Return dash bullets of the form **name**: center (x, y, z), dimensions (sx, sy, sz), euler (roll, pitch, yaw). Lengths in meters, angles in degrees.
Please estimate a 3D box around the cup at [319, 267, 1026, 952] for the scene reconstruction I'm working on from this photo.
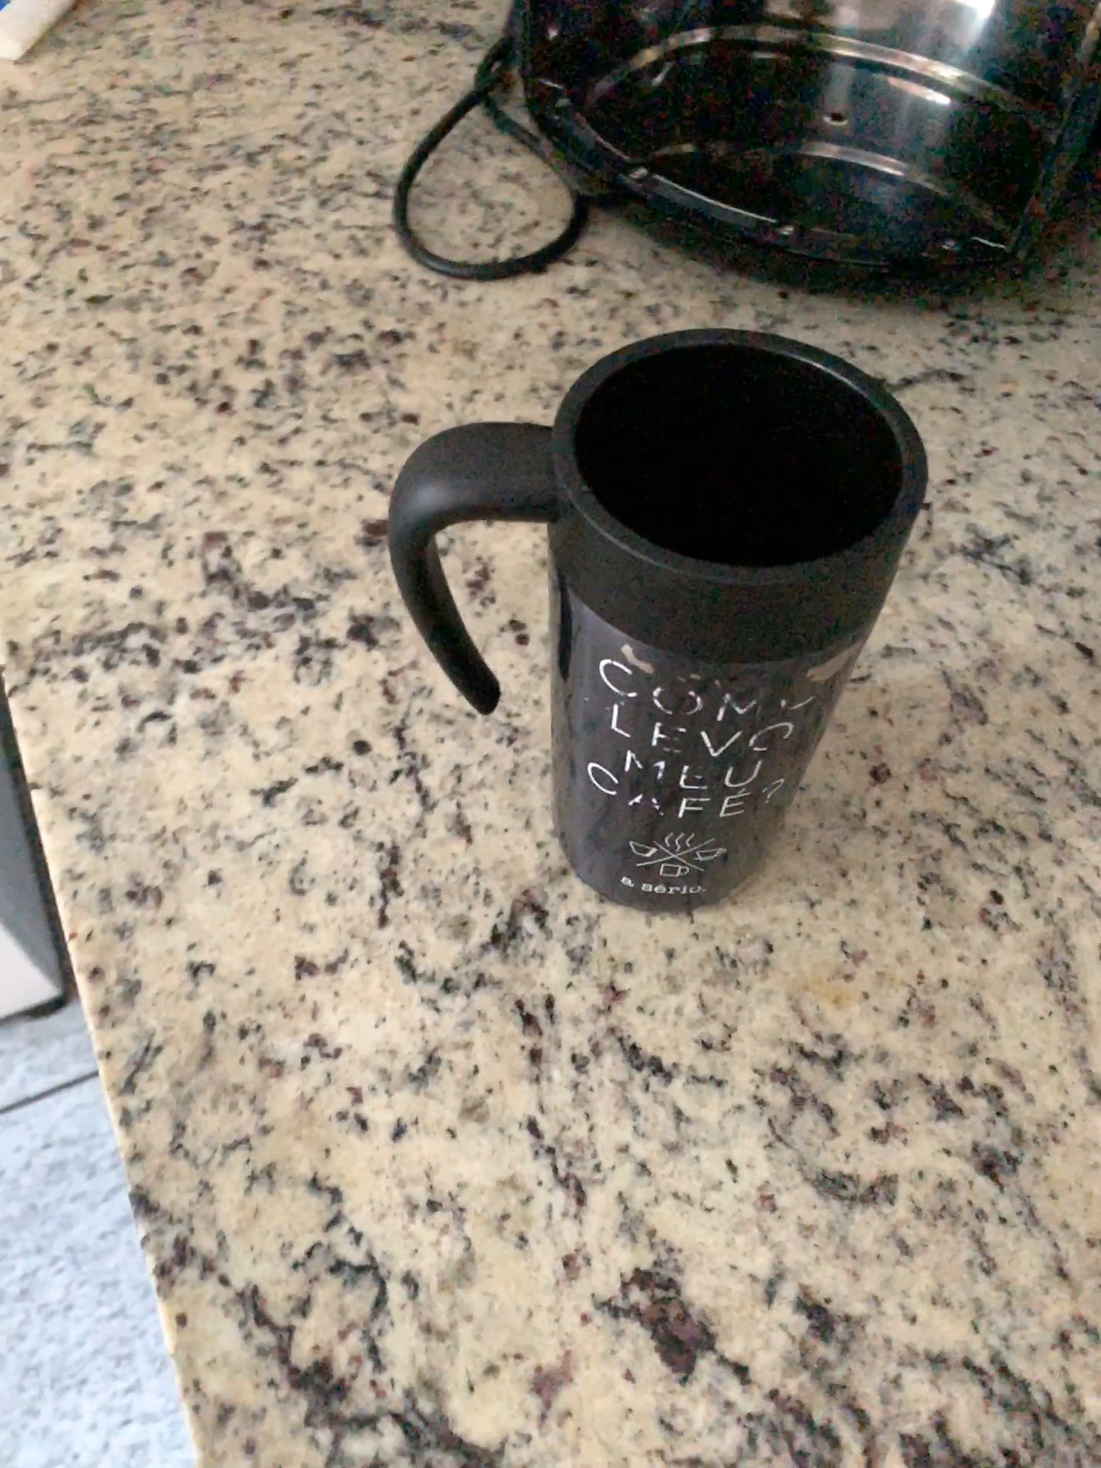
- **cup**: center (0.022, -0.020, 0.273), dimensions (0.120, 0.139, 0.080), euler (6, 55, 2)
